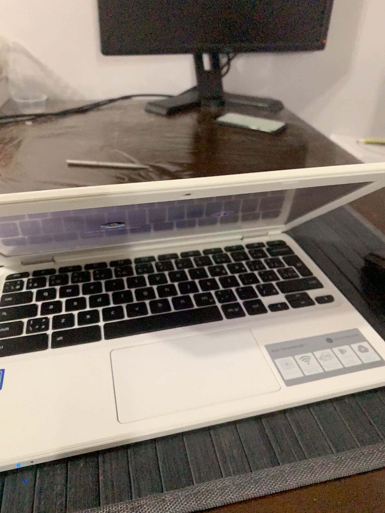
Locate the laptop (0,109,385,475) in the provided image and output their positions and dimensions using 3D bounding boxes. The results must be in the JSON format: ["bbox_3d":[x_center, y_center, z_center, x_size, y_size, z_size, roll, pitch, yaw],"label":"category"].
[{"bbox_3d":[-0.015,-0.009,0.275,0.280,0.124,0.182,-8,34,-13],"label":"laptop"}]
